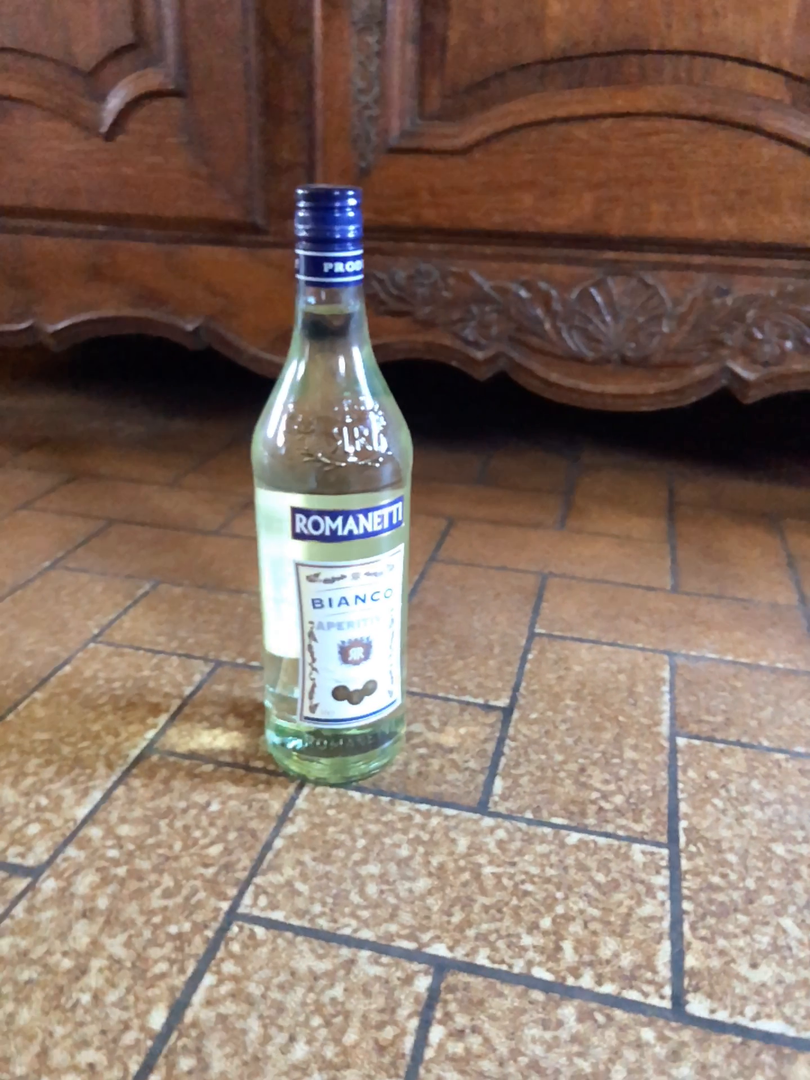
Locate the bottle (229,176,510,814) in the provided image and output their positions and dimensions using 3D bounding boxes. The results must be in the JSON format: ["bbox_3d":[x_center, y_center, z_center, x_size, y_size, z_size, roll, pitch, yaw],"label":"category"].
[{"bbox_3d":[-0.023,-0.022,0.459,0.100,0.298,0.100,1,23,0],"label":"bottle"}]
